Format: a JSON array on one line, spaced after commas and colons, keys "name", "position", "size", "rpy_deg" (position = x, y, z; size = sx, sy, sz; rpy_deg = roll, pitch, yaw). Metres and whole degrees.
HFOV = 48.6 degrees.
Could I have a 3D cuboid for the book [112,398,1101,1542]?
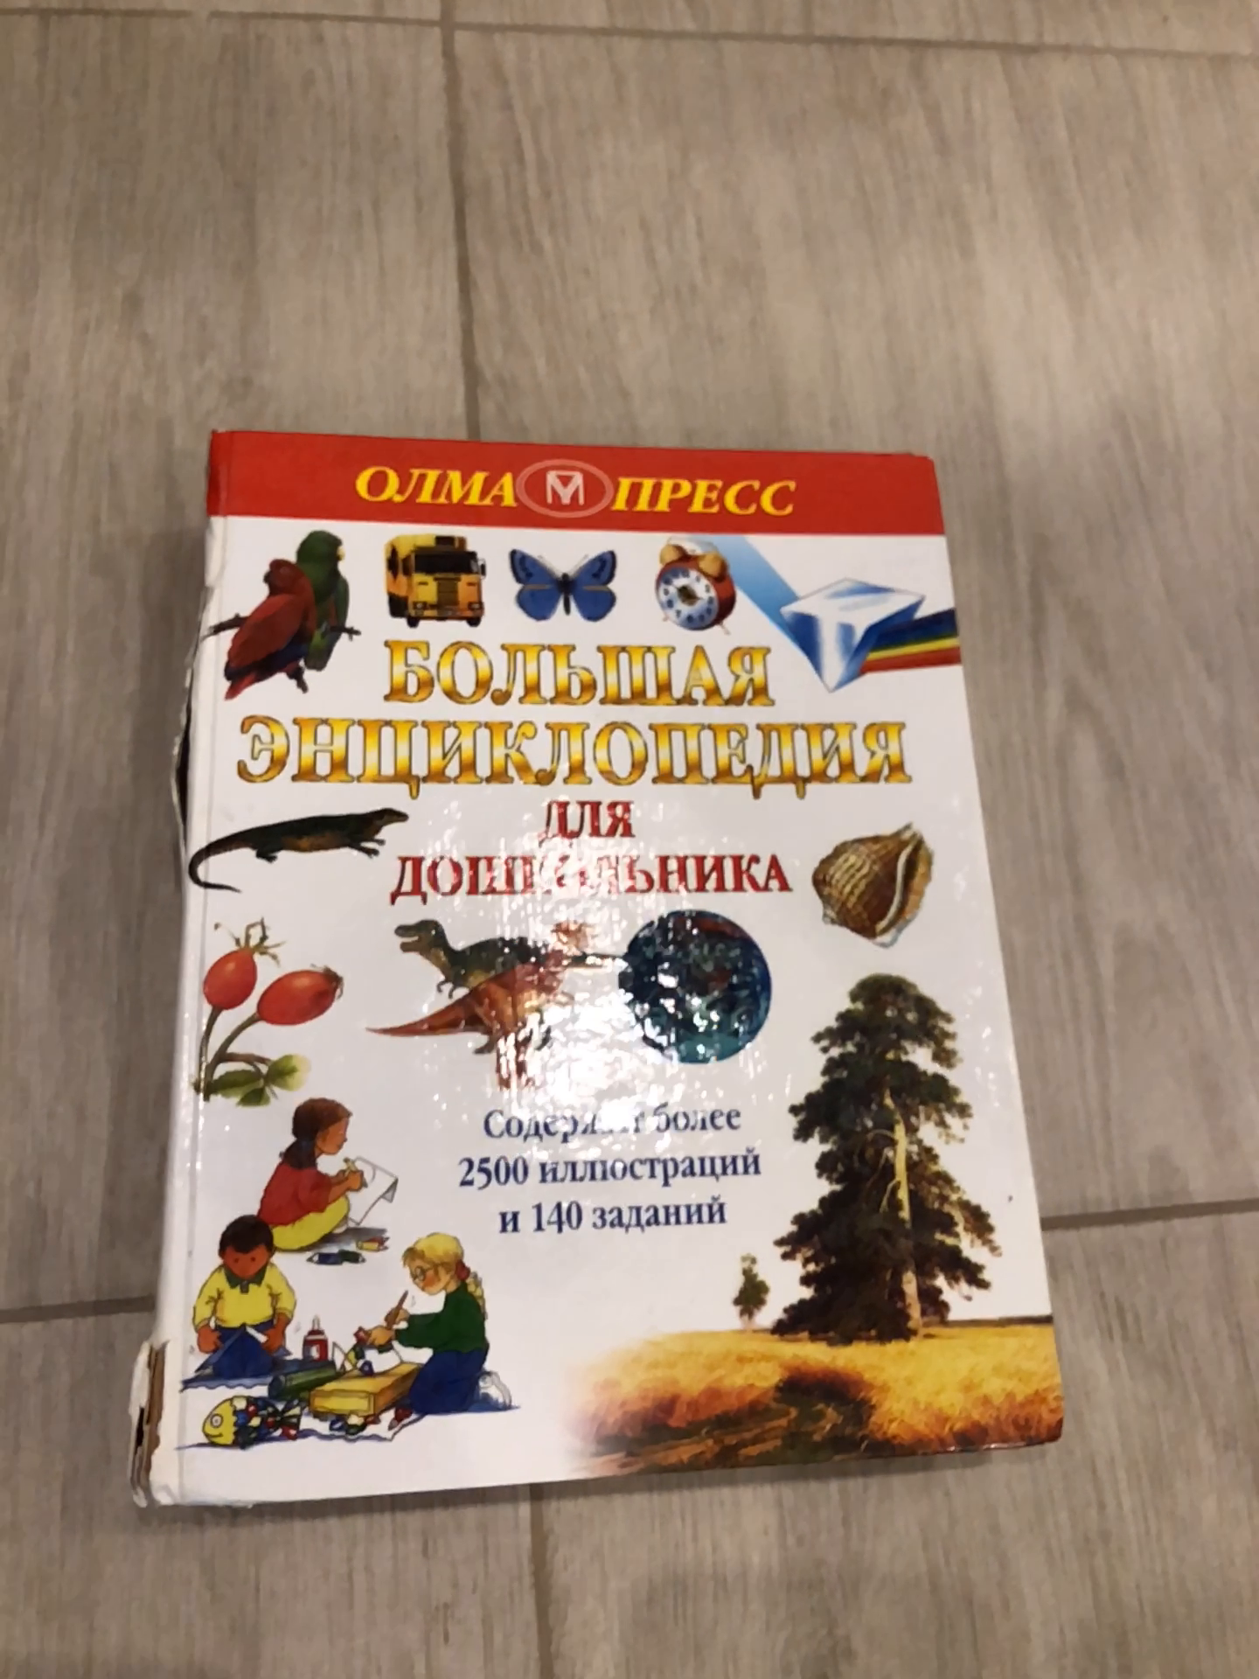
[{"name": "book", "position": [-0.009, 0.022, 0.376], "size": [0.216, 0.060, 0.281], "rpy_deg": [0, 71, -8]}]
